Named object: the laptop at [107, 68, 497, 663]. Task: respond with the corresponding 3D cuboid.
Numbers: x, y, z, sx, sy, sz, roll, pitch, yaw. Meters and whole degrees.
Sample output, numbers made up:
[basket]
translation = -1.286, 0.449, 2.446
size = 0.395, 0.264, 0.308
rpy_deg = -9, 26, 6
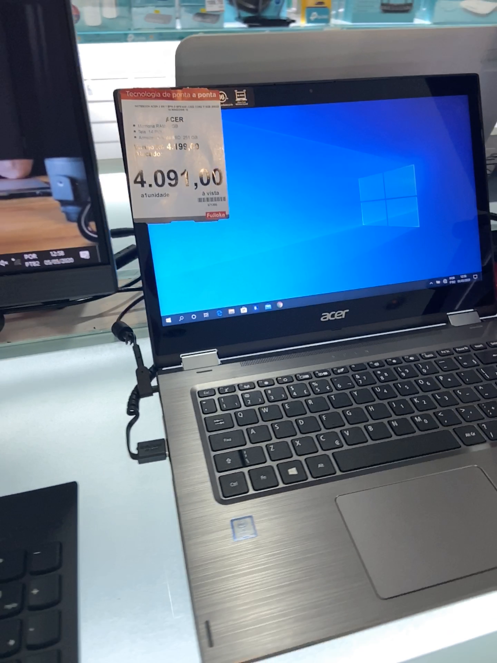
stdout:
[laptop]
translation = 0.092, -0.041, 0.361
size = 0.328, 0.187, 0.357
rpy_deg = -9, 38, -12
